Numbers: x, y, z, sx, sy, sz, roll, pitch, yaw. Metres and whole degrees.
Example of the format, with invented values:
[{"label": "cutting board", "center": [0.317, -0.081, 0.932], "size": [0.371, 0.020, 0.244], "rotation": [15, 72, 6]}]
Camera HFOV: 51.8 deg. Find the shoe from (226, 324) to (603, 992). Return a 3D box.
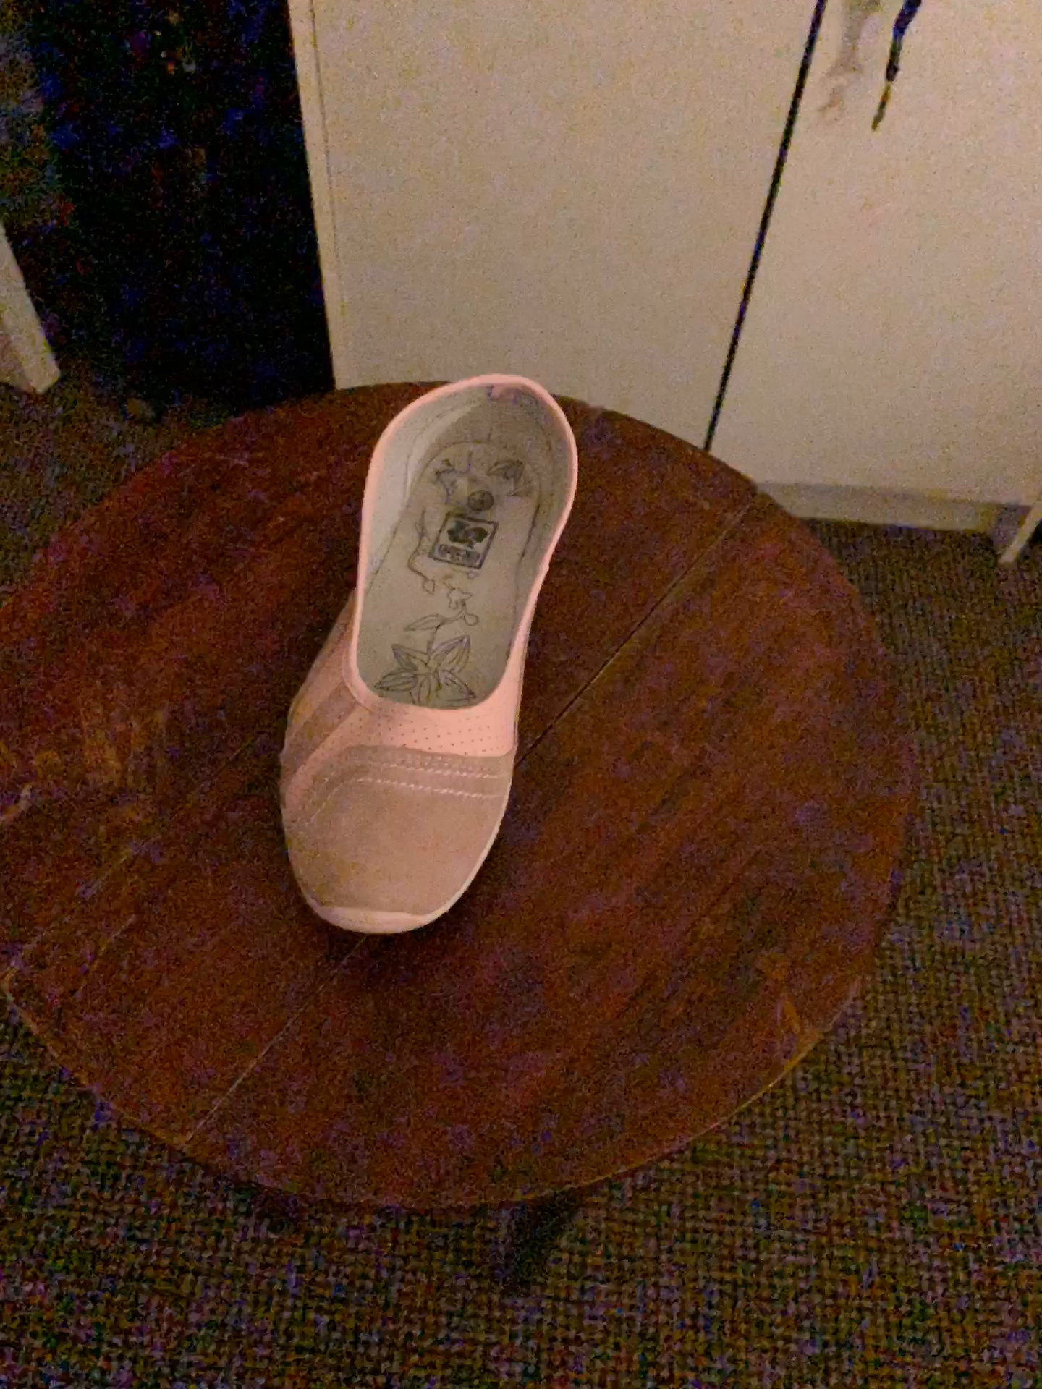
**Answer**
[{"label": "shoe", "center": [-0.028, -0.031, 0.430], "size": [0.090, 0.069, 0.272], "rotation": [8, 55, 2]}]
